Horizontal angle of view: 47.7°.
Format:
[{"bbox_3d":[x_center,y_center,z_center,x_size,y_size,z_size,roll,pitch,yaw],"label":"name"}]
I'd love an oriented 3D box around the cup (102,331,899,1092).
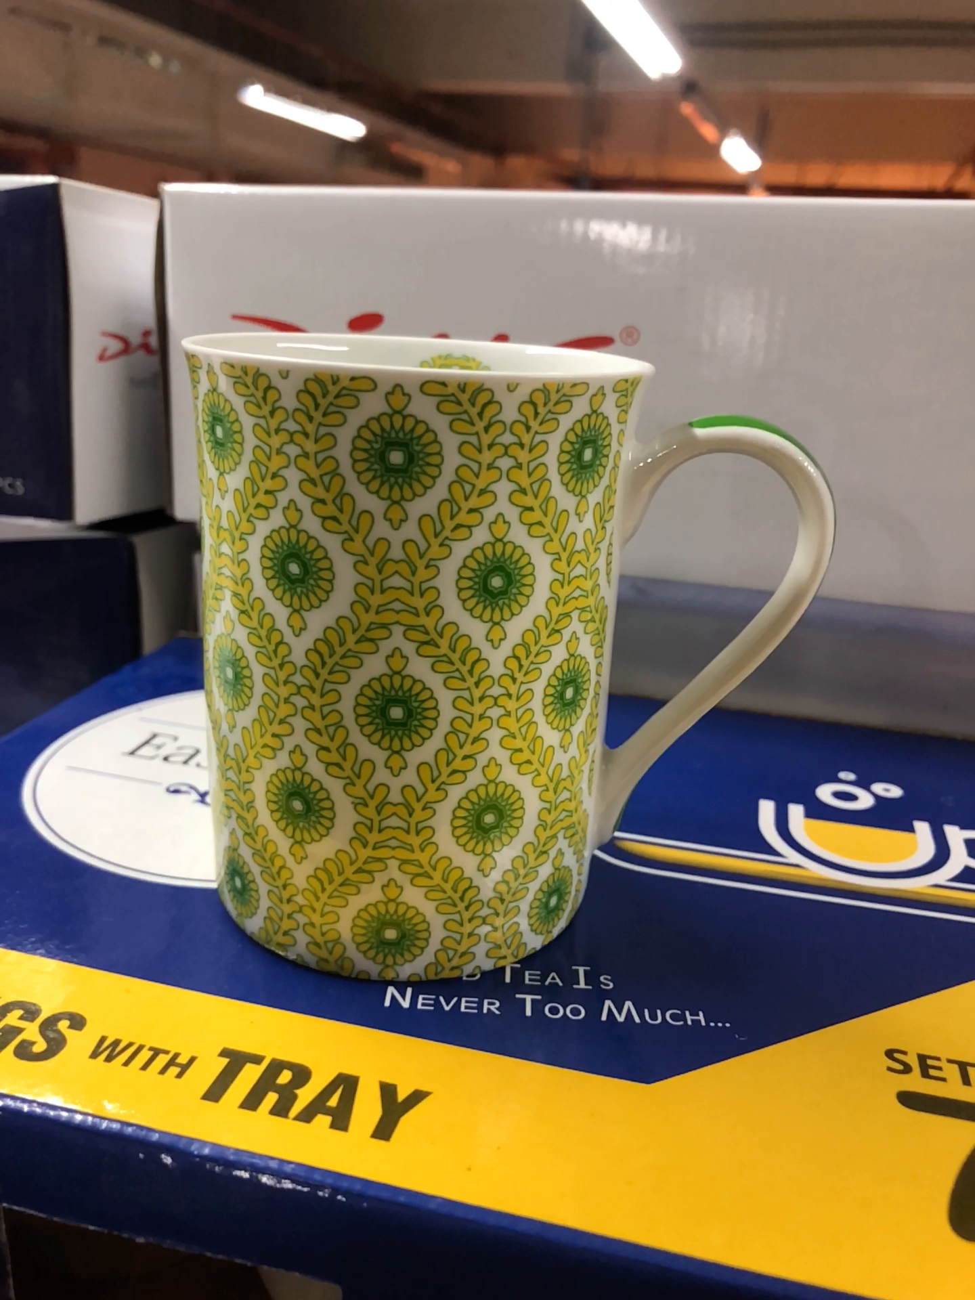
[{"bbox_3d":[0.005,-0.001,0.178,0.100,0.090,0.070,8,19,16],"label":"cup"}]
